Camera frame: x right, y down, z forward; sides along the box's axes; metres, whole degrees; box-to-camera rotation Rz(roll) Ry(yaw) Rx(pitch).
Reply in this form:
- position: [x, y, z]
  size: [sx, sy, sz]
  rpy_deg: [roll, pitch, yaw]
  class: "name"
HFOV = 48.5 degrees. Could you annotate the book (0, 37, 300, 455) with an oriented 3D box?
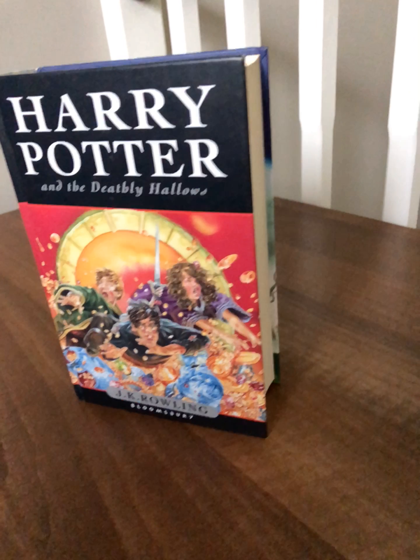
- position: [-0.024, -0.015, 0.268]
  size: [0.140, 0.209, 0.060]
  rpy_deg: [6, 28, 22]
  class: "book"
